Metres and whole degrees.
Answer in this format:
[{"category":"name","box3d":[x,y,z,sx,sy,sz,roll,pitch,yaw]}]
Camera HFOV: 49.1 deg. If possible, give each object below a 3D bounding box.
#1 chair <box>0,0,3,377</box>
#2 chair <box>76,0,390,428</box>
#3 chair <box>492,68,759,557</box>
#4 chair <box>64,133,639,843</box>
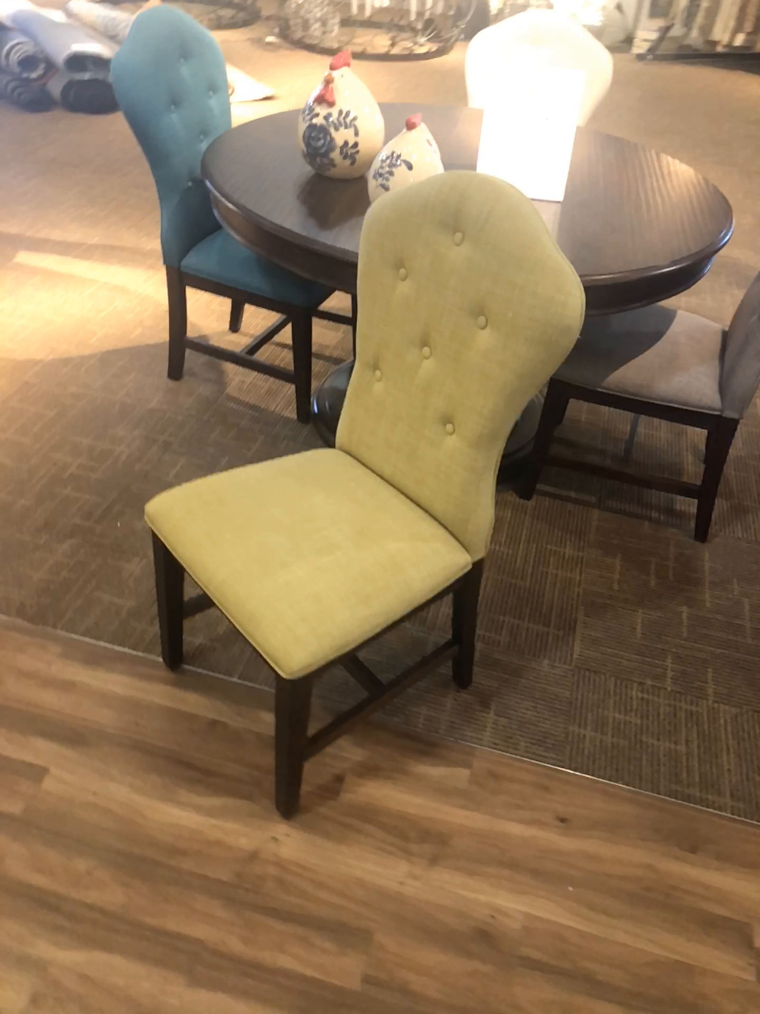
[{"category":"chair","box3d":[-1.807,-1.060,2.696,0.575,0.940,0.702,19,40,16]},{"category":"chair","box3d":[-0.373,-0.830,2.341,0.575,0.960,0.521,18,40,16]},{"category":"chair","box3d":[0.719,-0.475,2.068,0.635,0.950,0.511,16,40,13]},{"category":"chair","box3d":[-0.070,-0.041,1.485,0.617,0.980,0.539,-26,48,-33]}]
